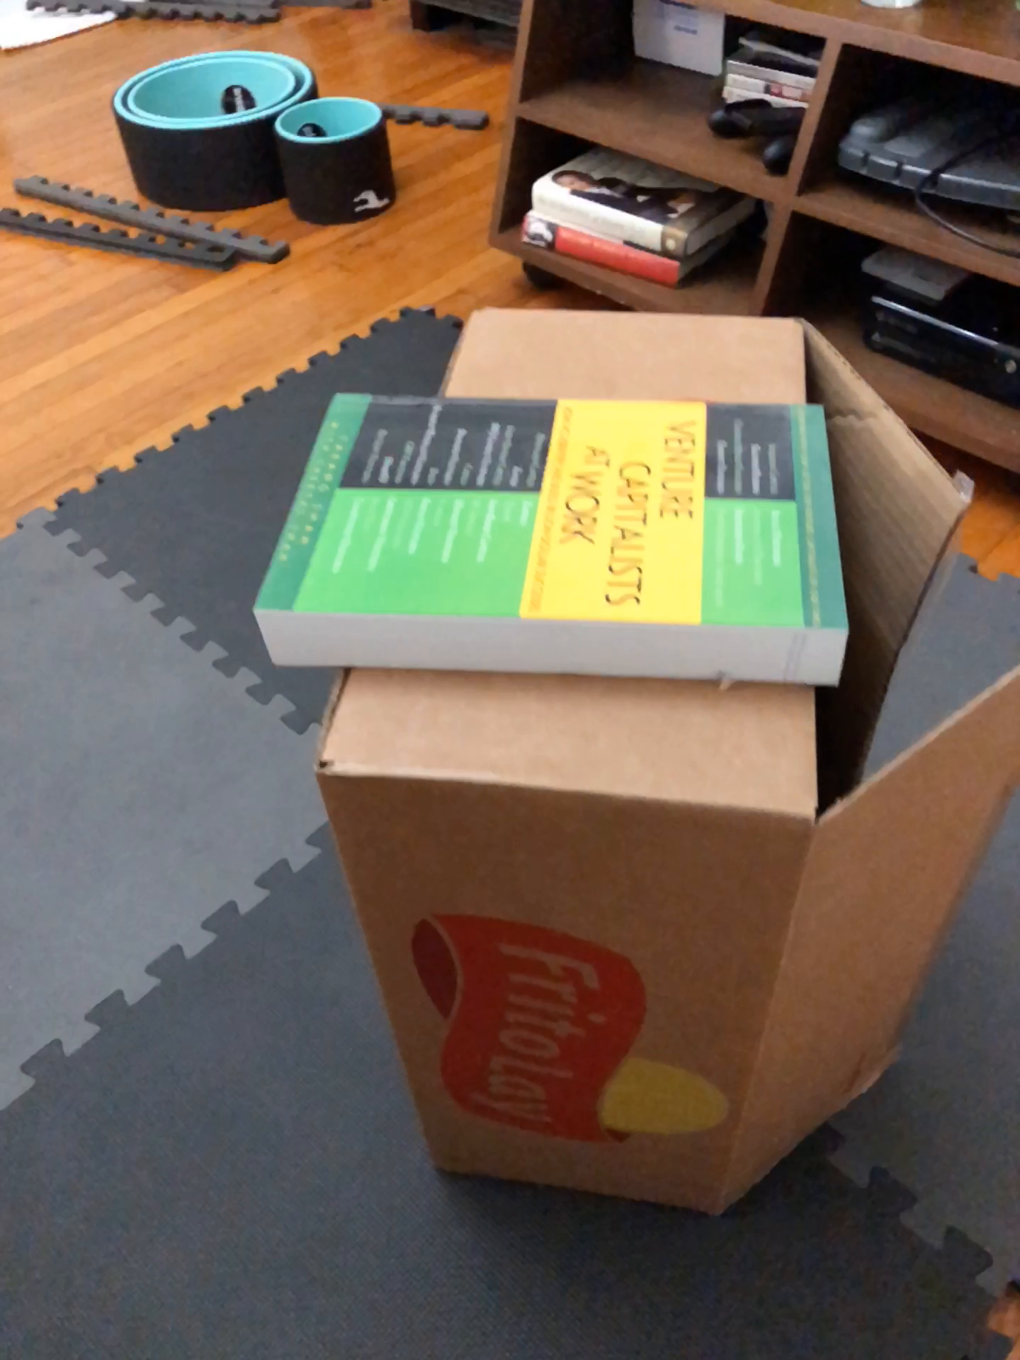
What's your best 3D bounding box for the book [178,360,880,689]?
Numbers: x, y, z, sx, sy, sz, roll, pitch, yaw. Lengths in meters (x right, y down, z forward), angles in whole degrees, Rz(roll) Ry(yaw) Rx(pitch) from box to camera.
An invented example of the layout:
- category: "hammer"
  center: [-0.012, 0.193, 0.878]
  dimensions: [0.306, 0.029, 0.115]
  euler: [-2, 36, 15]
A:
- category: "book"
  center: [0.013, -0.075, 0.482]
  dimensions: [0.260, 0.040, 0.161]
  euler: [3, 47, 8]
